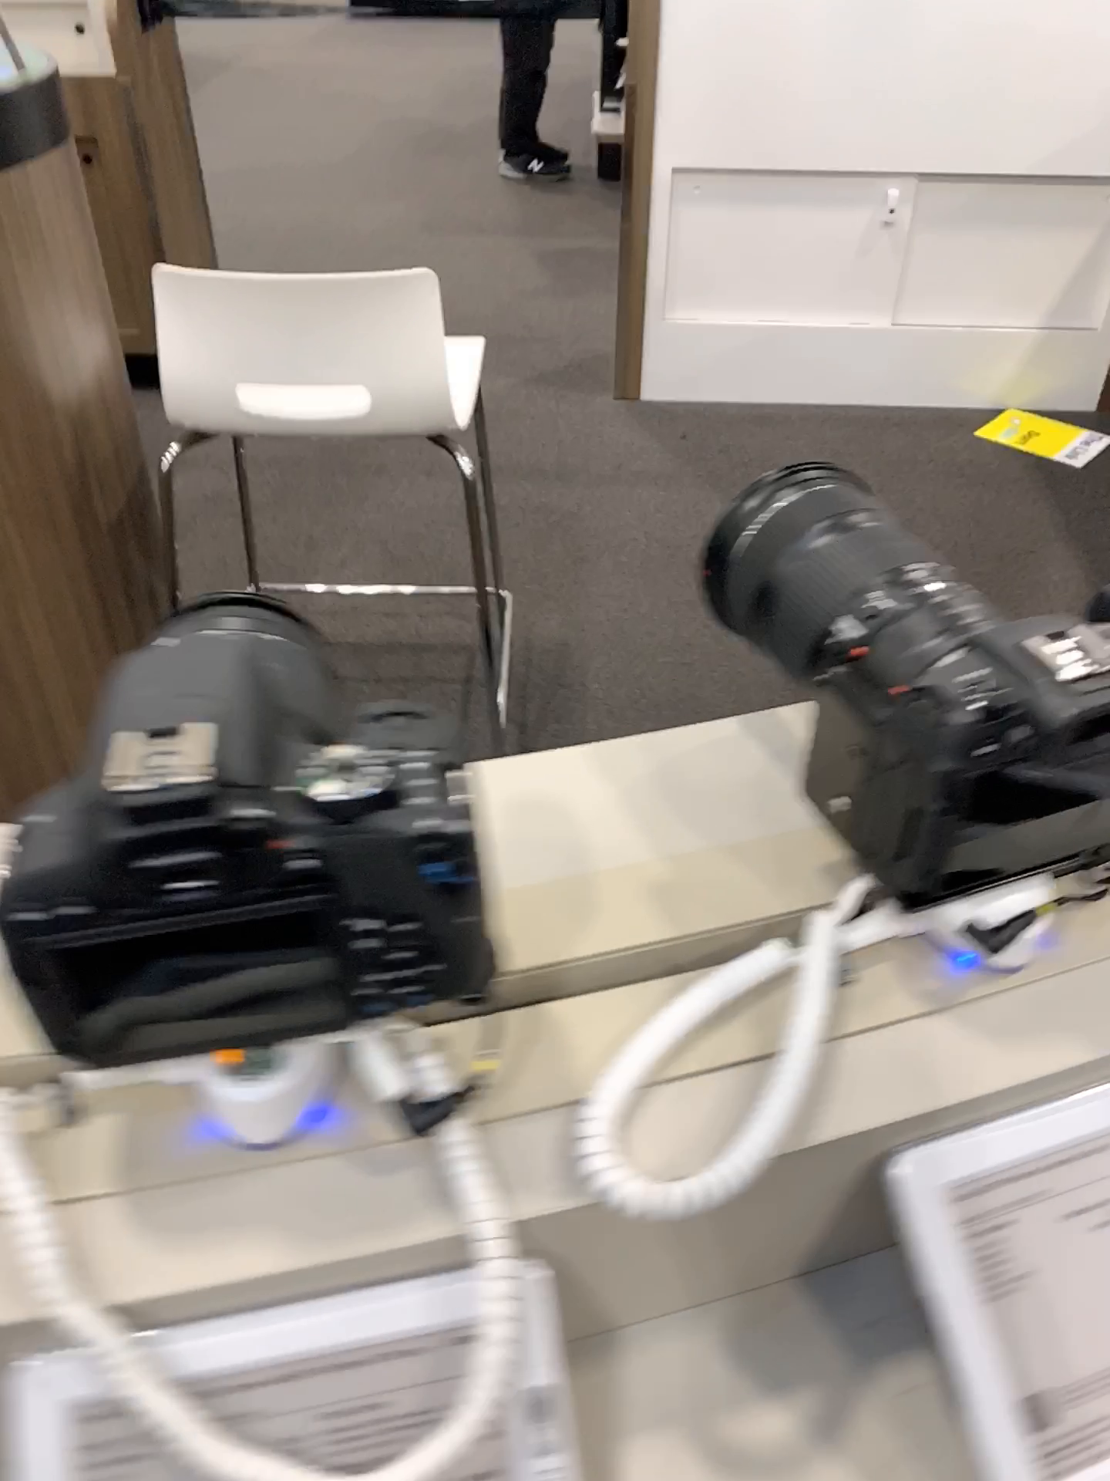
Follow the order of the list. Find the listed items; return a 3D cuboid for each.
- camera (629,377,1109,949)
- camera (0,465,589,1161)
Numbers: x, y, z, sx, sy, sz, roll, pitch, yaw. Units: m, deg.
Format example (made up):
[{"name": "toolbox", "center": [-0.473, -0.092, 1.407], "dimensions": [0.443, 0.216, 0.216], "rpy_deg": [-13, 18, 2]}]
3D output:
[{"name": "camera", "center": [0.137, -0.045, 0.436], "dimensions": [0.140, 0.099, 0.201], "rpy_deg": [-14, 41, -17]}, {"name": "camera", "center": [-0.083, 0.011, 0.362], "dimensions": [0.150, 0.119, 0.171], "rpy_deg": [-7, 40, -9]}]
